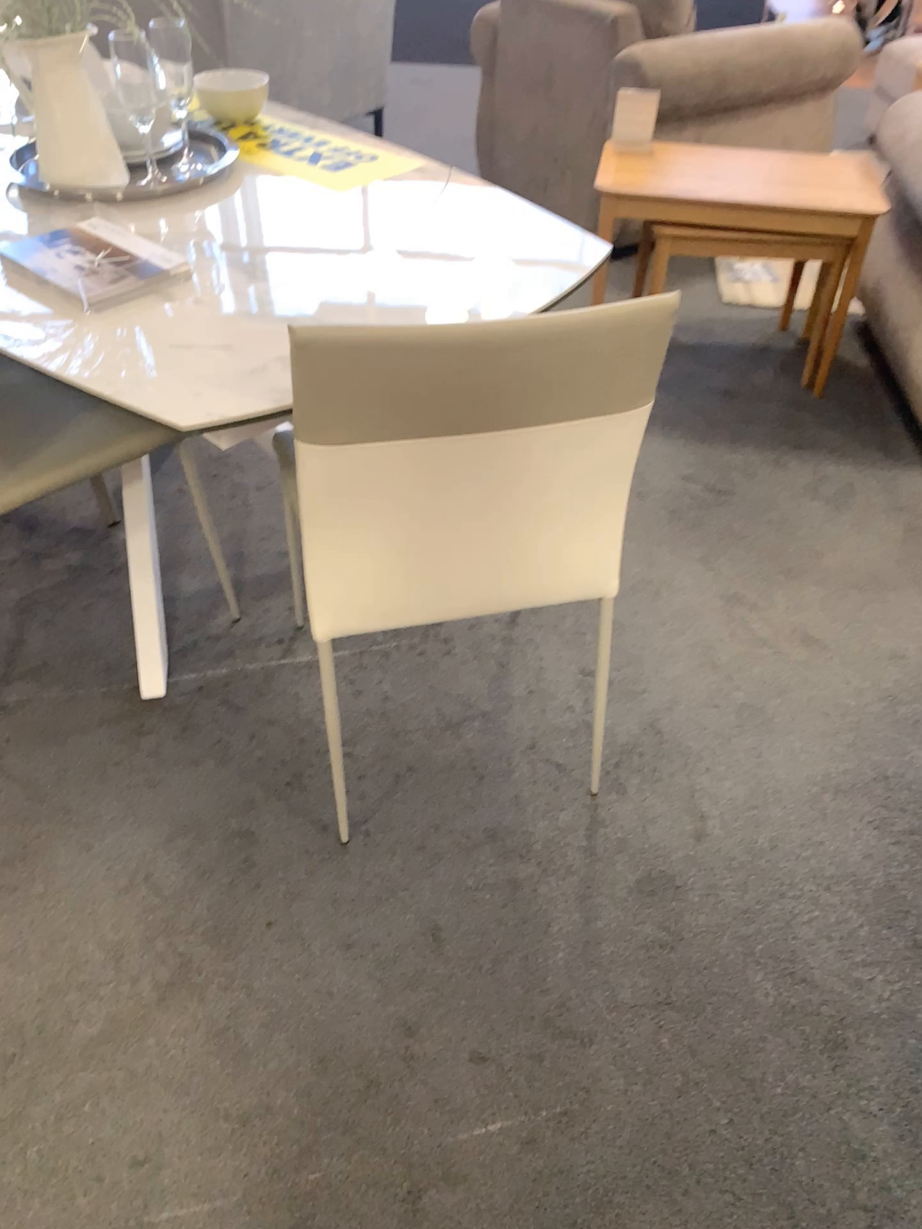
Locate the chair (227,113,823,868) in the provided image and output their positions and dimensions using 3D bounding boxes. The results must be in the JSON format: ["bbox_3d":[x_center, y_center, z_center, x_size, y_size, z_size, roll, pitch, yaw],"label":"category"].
[{"bbox_3d":[0.017,-0.173,1.348,0.532,0.823,0.586,-9,43,-11],"label":"chair"}]
